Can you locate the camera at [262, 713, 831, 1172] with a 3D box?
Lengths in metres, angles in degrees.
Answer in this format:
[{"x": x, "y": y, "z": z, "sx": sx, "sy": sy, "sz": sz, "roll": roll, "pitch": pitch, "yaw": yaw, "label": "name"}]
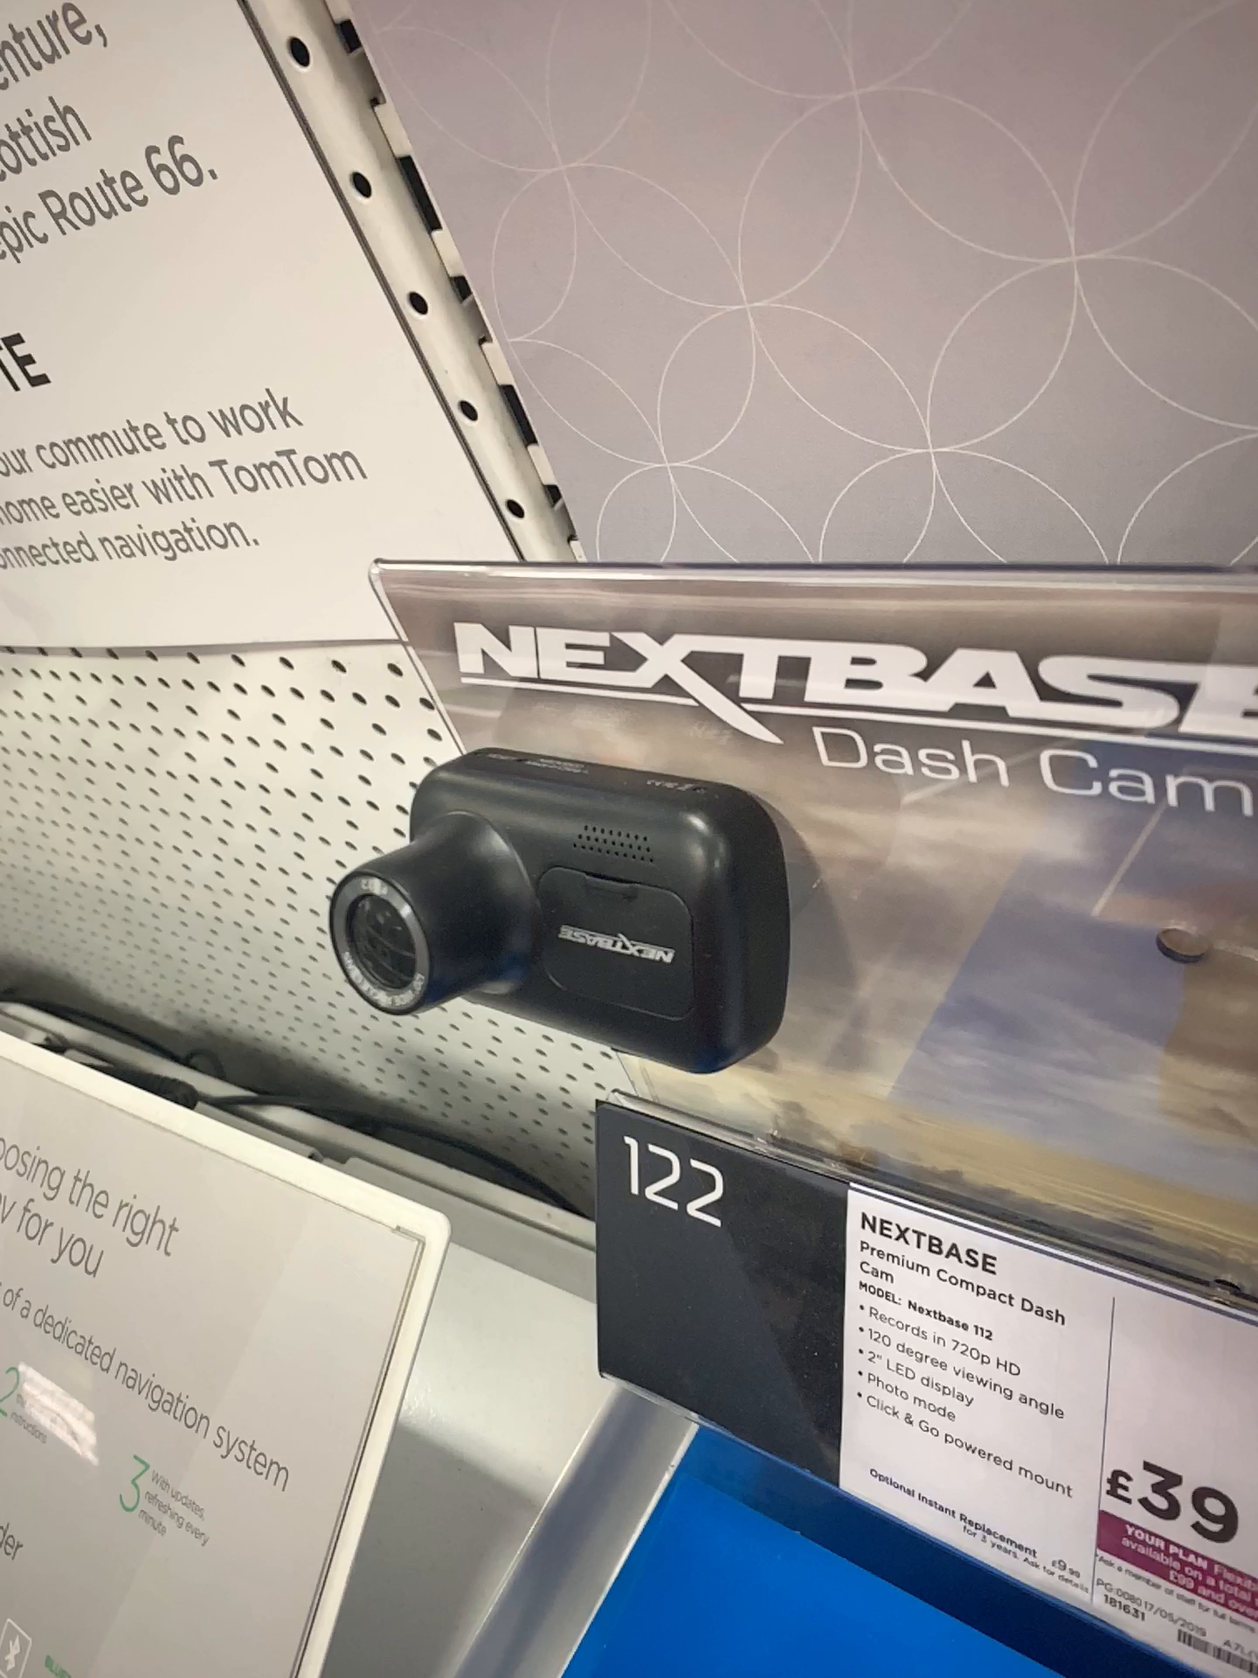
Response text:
[{"x": -0.014, "y": 0.011, "z": 0.233, "sx": 0.080, "sy": 0.050, "sz": 0.060, "roll": 12, "pitch": 22, "yaw": 41, "label": "camera"}]
